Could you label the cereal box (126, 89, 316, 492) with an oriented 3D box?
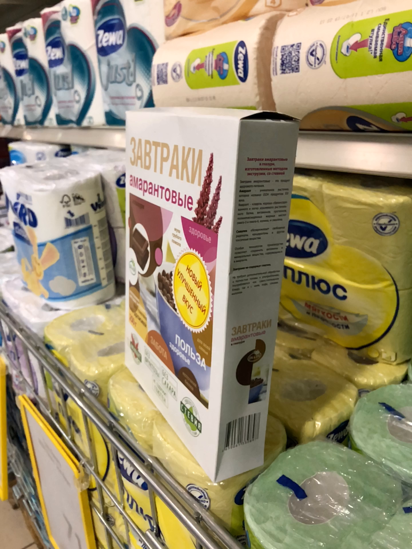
[{"bbox_3d":[-0.009,-0.003,0.378,0.050,0.269,0.191,-7,20,-29],"label":"cereal box"}]
